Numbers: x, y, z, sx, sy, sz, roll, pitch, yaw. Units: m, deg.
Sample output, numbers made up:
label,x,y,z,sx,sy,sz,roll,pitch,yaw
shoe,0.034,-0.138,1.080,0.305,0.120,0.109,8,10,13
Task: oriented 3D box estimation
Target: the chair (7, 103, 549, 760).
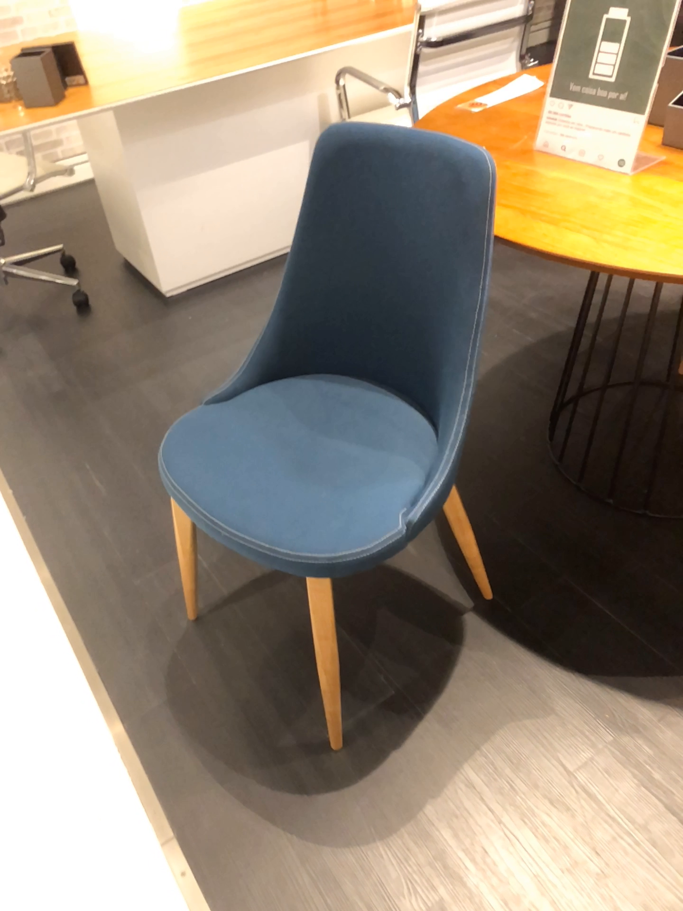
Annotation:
label,x,y,z,sx,sy,sz,roll,pitch,yaw
chair,-0.051,-0.050,1.300,0.542,0.854,0.522,-36,47,-30
